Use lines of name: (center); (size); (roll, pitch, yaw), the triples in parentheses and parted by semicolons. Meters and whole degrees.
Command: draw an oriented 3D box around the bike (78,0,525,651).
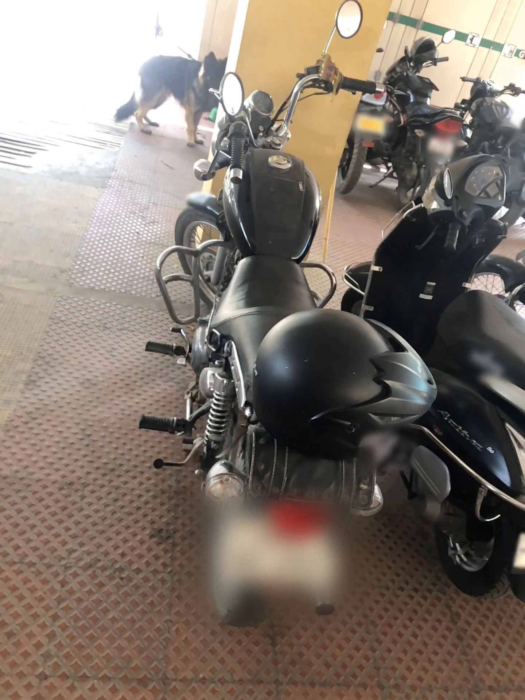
bike: (-0.122, -0.281, 1.842); (0.783, 1.177, 1.818); (4, 38, -18)
